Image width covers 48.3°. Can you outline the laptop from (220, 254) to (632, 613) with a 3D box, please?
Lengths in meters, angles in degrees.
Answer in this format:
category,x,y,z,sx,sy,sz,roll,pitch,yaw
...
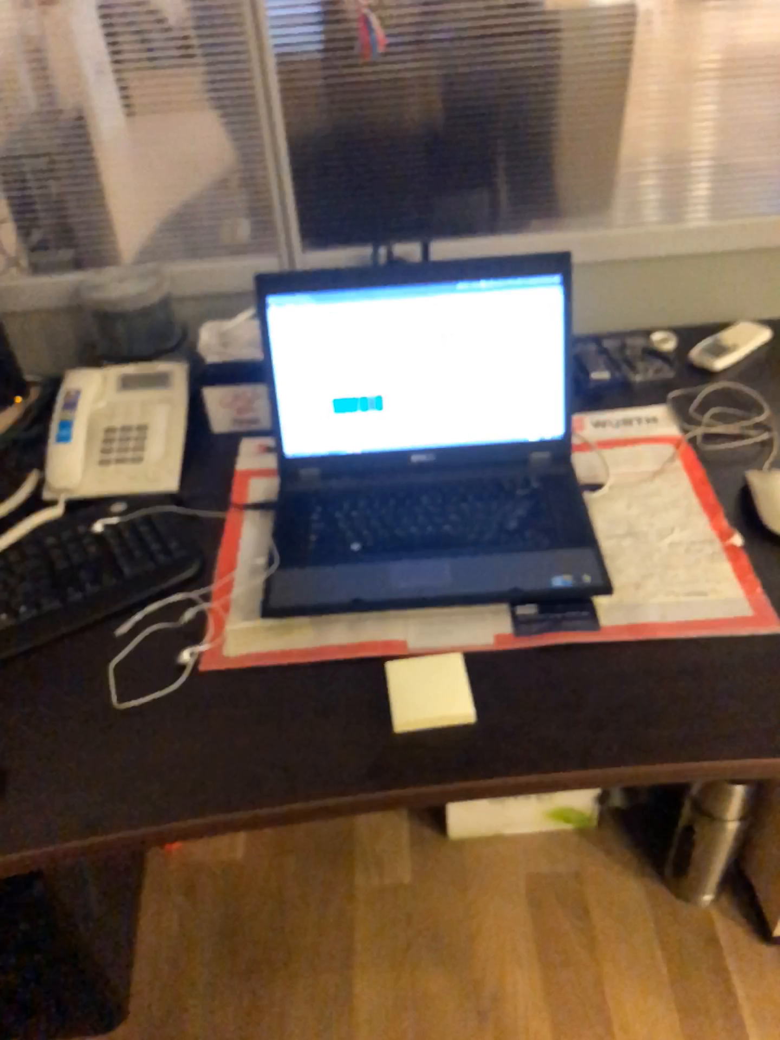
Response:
category,x,y,z,sx,sy,sz,roll,pitch,yaw
laptop,0.035,-0.089,0.834,0.317,0.209,0.257,-4,38,2
